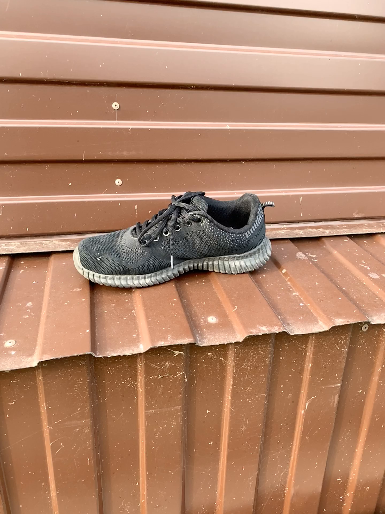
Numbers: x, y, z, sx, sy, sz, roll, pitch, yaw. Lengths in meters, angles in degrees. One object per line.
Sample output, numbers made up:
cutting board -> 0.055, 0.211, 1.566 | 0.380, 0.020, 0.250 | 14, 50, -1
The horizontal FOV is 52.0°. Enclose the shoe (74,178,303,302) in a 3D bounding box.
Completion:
shoe -> -0.011, -0.035, 0.583 | 0.300, 0.119, 0.121 | -5, 31, -17
